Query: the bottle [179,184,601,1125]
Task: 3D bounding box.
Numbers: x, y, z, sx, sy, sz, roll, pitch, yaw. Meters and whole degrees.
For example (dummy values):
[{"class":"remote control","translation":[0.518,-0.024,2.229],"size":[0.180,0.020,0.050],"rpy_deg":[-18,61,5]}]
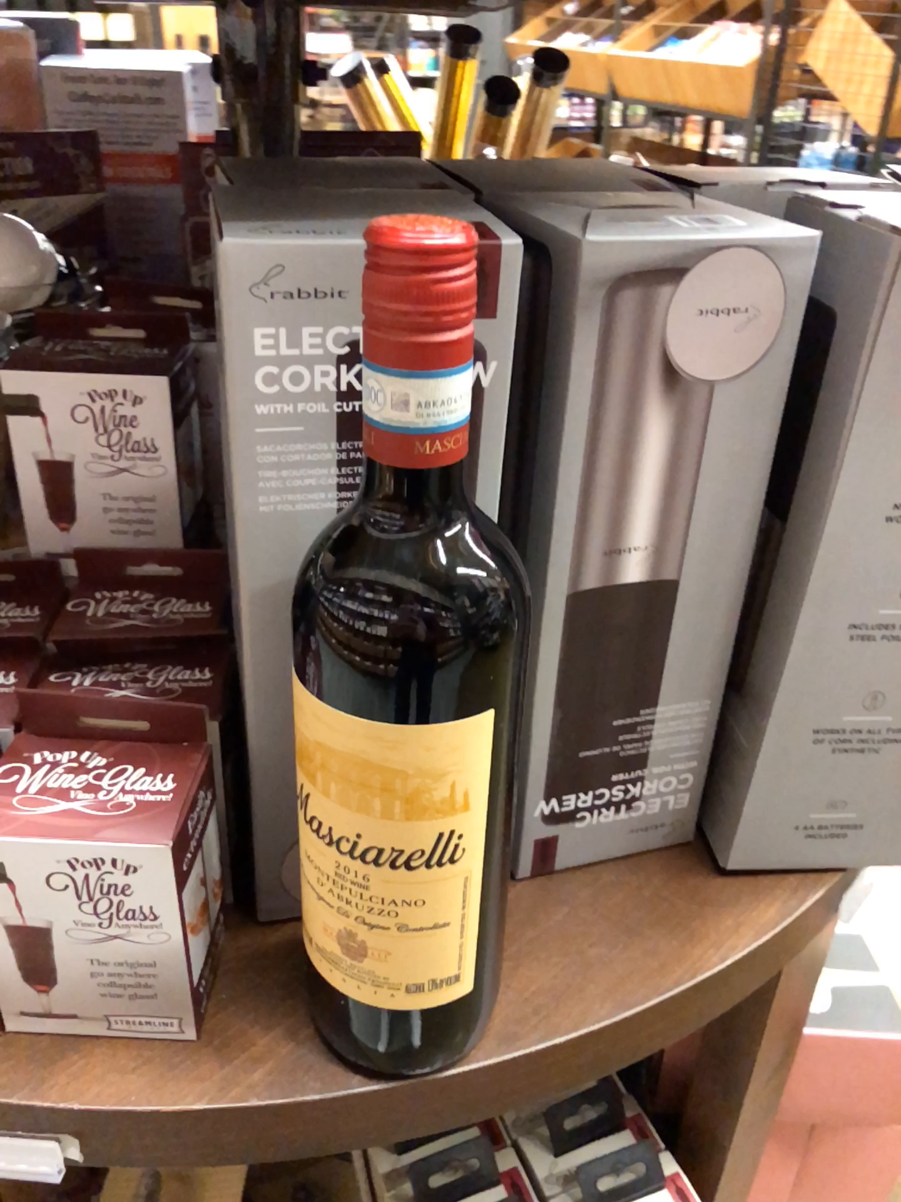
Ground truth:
[{"class":"bottle","translation":[-0.016,0.030,0.311],"size":[0.072,0.283,0.075],"rpy_deg":[1,30,-1]}]
